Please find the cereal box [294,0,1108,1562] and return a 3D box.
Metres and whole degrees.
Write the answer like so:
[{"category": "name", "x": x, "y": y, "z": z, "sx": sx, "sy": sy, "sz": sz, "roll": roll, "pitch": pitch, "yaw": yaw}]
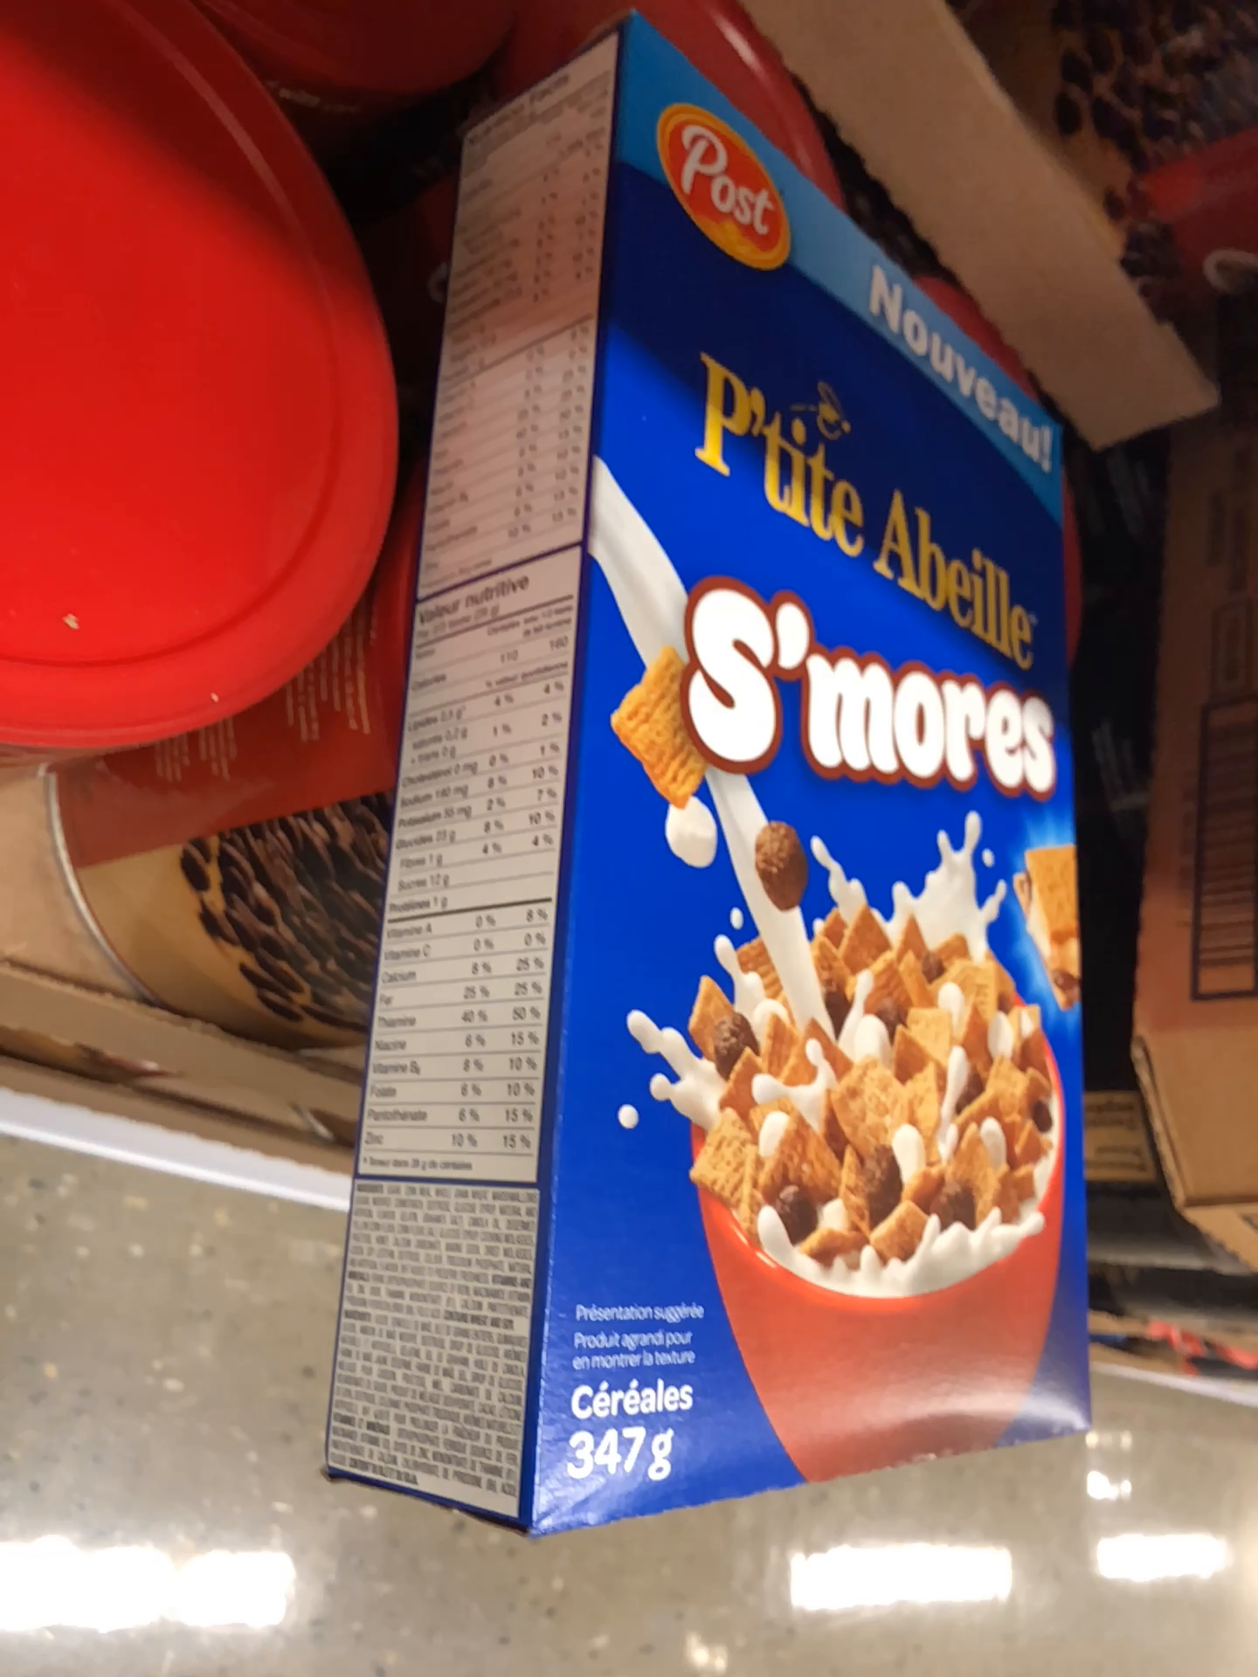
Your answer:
[{"category": "cereal box", "x": 0.038, "y": -0.006, "z": 0.338, "sx": 0.201, "sy": 0.060, "sz": 0.290, "roll": 18, "pitch": 69, "yaw": -45}]
